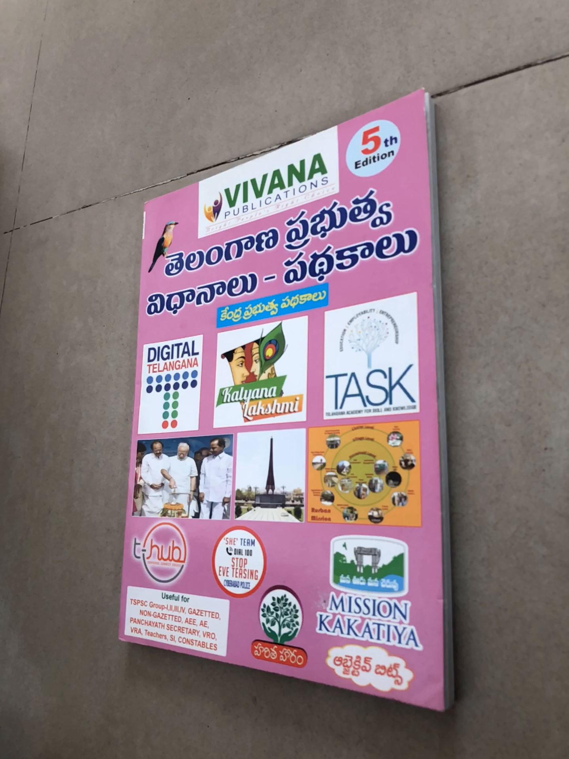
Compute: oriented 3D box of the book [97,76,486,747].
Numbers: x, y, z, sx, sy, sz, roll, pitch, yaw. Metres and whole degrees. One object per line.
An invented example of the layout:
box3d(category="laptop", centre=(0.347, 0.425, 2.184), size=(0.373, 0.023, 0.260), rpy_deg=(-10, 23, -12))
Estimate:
box3d(category="book", centre=(-0.007, 0.012, 0.325), size=(0.201, 0.040, 0.270), rpy_deg=(-7, 76, 36))
